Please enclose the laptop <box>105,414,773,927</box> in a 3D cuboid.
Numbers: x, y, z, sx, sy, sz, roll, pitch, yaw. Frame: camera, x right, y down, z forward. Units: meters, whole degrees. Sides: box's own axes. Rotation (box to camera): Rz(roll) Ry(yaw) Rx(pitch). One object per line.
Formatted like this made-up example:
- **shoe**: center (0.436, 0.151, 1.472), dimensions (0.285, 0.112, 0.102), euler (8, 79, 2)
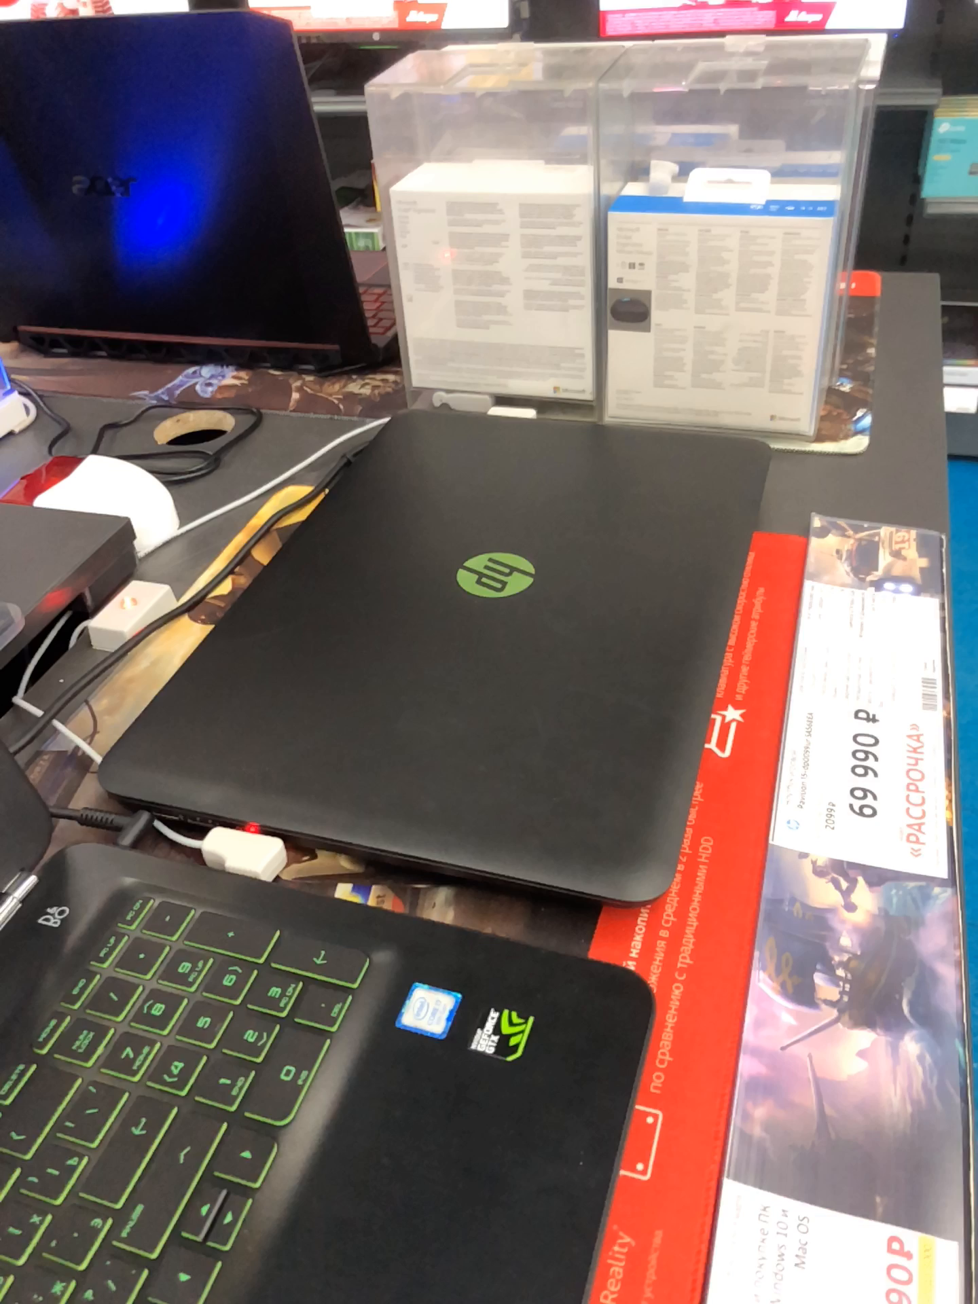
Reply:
- **laptop**: center (0.007, -0.030, 0.567), dimensions (0.239, 0.006, 0.373), euler (9, 40, 15)
